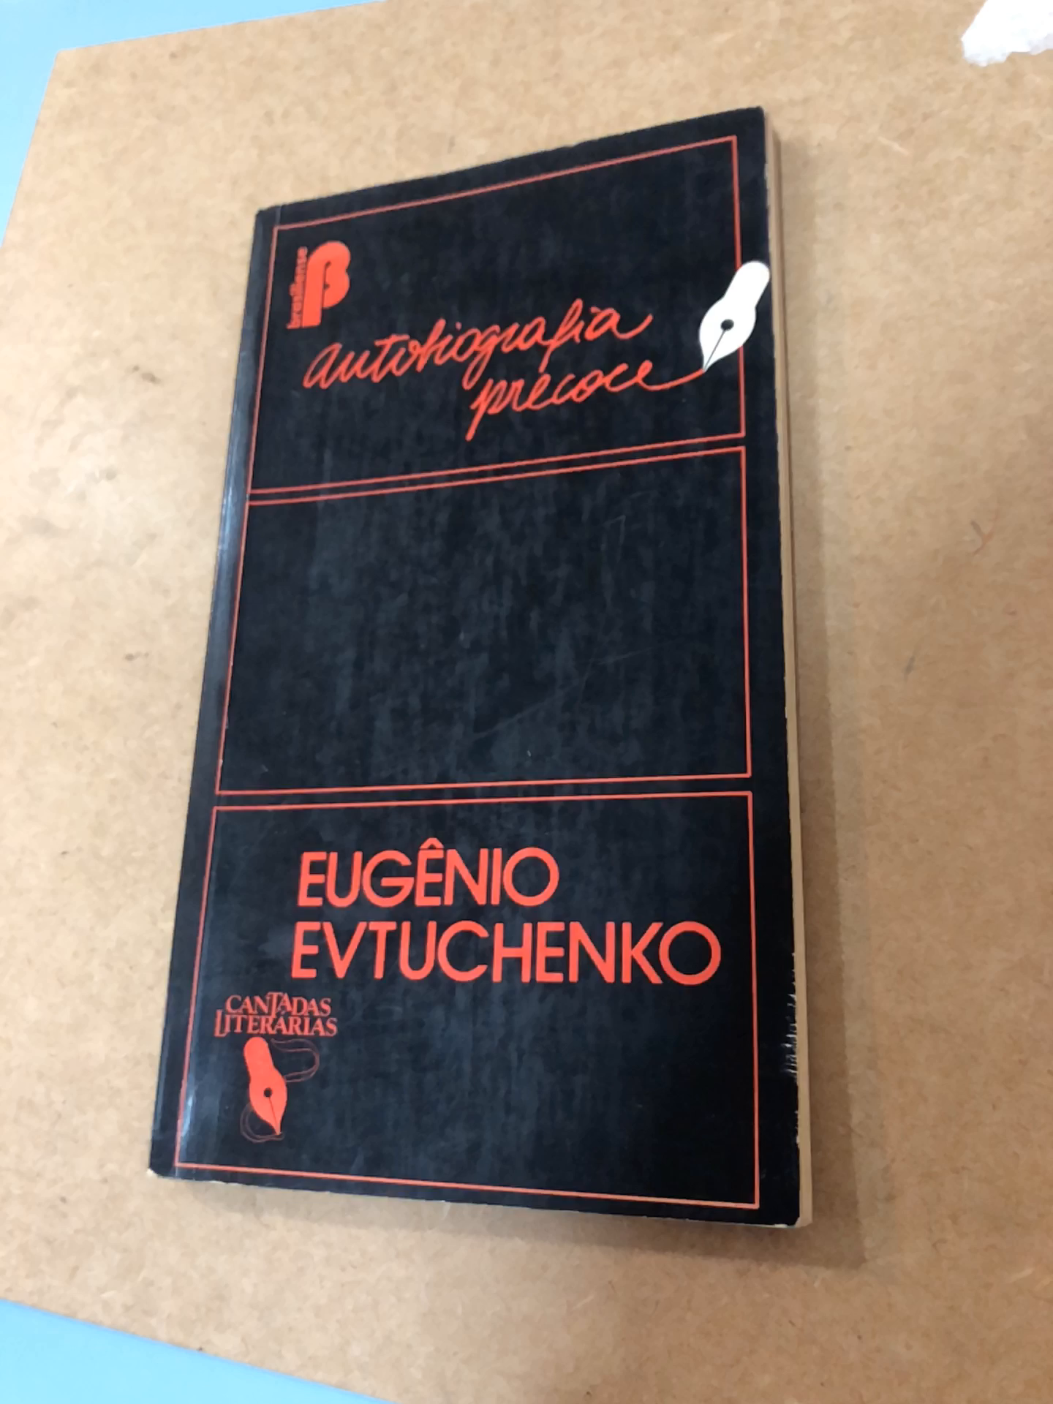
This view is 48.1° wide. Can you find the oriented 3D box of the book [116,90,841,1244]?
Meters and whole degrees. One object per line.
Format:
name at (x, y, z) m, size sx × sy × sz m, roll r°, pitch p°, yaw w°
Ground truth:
book at (-0.007, -0.014, 0.210) m, size 0.114 × 0.016 × 0.190 m, roll -3°, pitch 73°, yaw 18°
